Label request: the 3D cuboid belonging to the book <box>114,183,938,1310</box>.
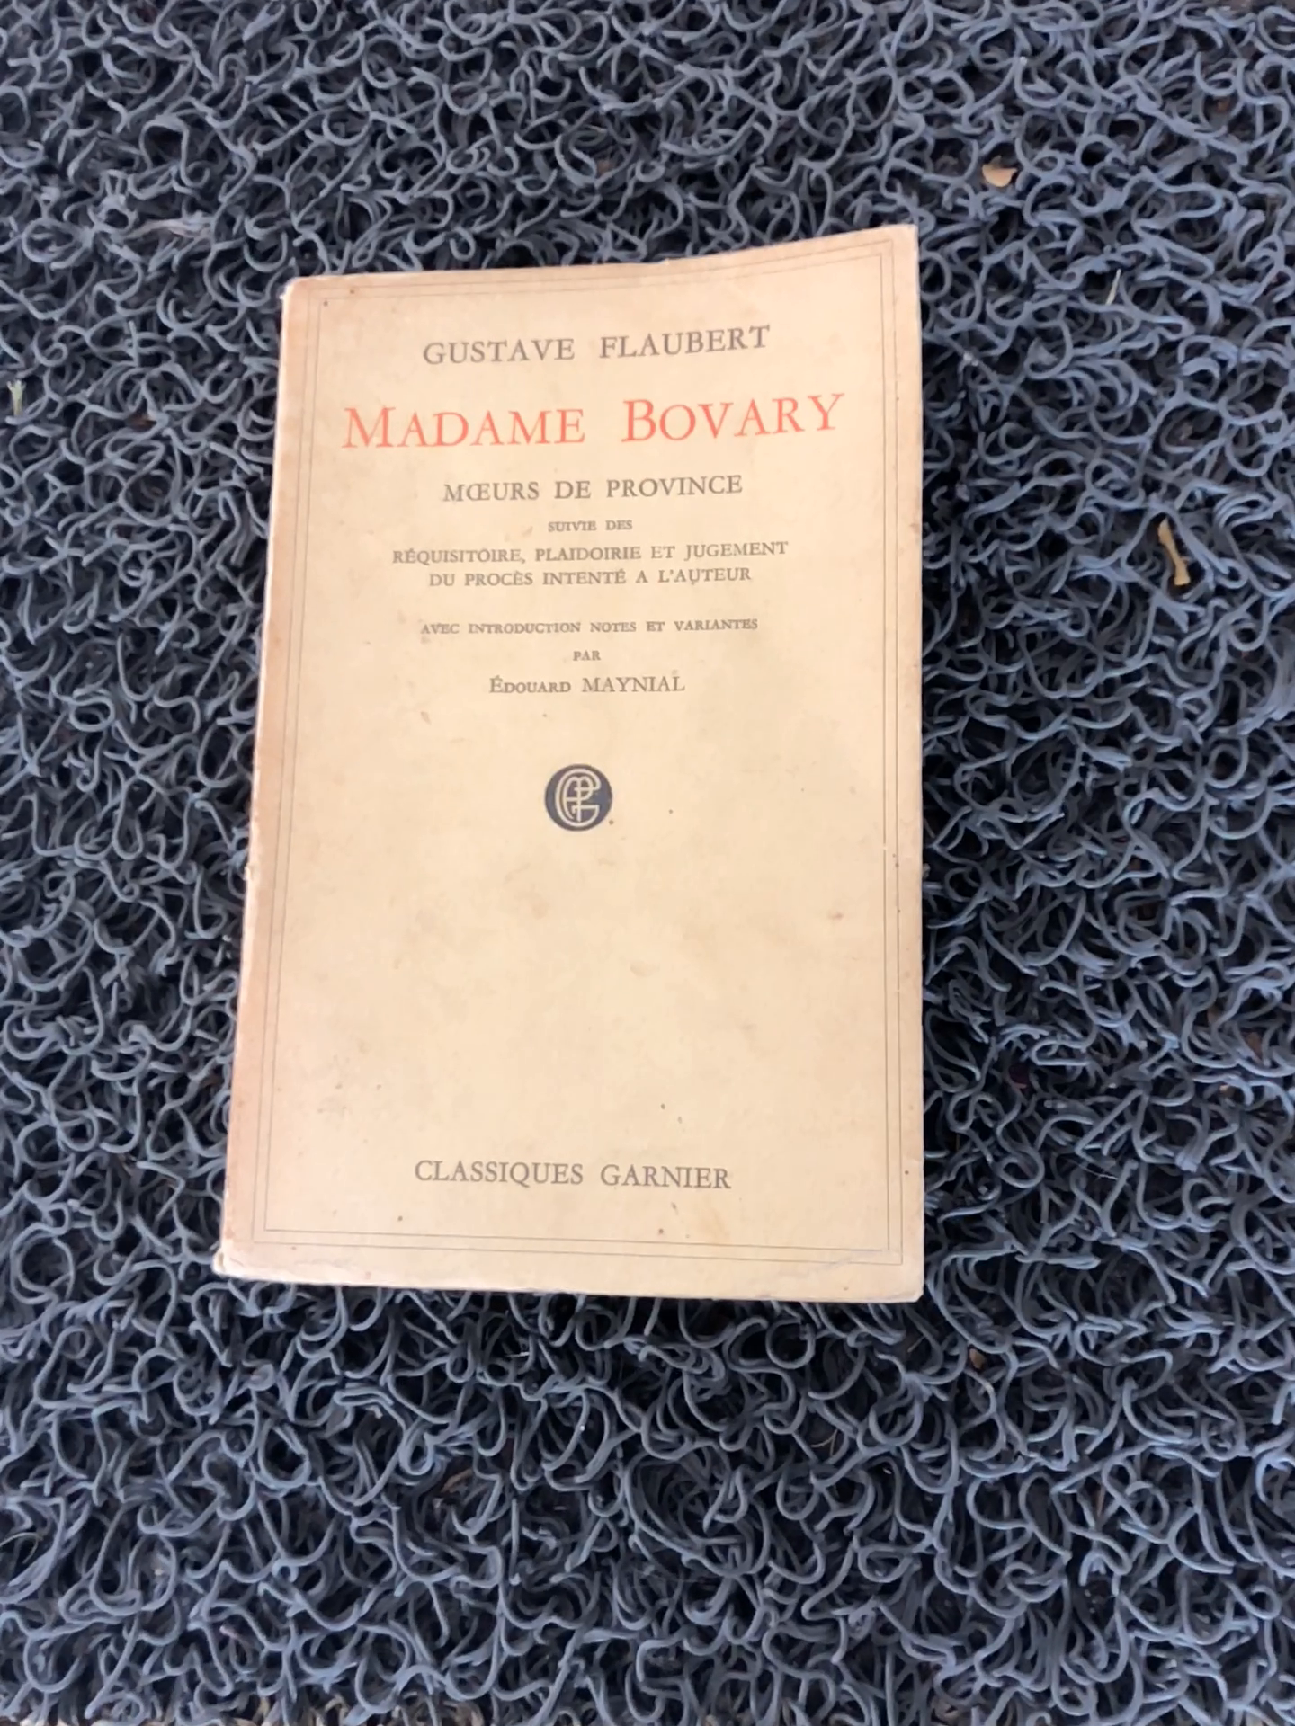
[{"bbox_3d":[-0.016,-0.021,0.247,0.124,0.035,0.180,0,80,6],"label":"book"}]
